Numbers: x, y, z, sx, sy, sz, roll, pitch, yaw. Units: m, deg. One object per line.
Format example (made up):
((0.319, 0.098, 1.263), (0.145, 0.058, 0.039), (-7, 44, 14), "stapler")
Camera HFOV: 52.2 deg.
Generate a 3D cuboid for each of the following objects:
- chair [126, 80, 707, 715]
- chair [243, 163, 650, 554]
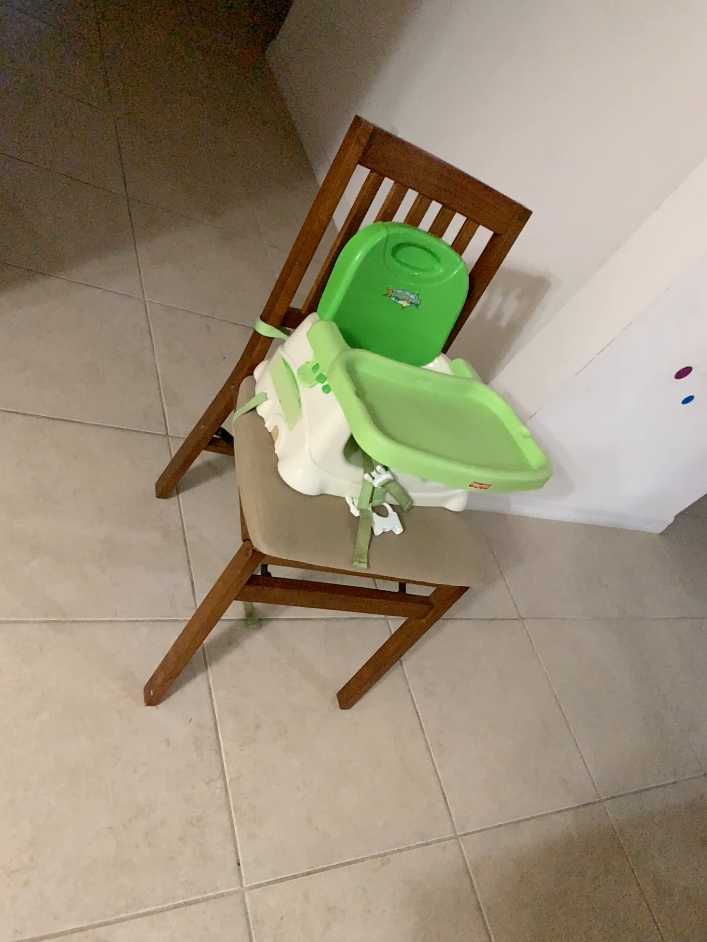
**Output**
((-0.013, -0.033, 1.246), (0.455, 0.882, 0.558), (14, 45, -31), "chair")
((0.114, -0.145, 1.096), (0.405, 0.328, 0.387), (11, 46, -33), "chair")
